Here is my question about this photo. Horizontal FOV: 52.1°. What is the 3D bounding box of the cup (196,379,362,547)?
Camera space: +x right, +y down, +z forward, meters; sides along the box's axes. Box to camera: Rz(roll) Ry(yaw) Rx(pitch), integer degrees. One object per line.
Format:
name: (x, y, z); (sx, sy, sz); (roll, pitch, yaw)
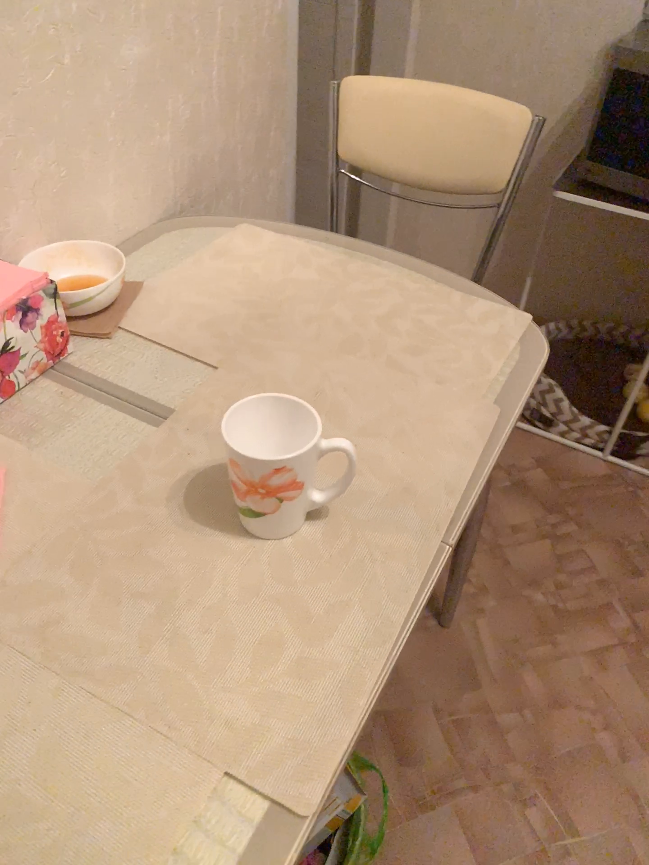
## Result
cup: (-0.033, 0.025, 0.535); (0.118, 0.099, 0.084); (3, 43, 0)
